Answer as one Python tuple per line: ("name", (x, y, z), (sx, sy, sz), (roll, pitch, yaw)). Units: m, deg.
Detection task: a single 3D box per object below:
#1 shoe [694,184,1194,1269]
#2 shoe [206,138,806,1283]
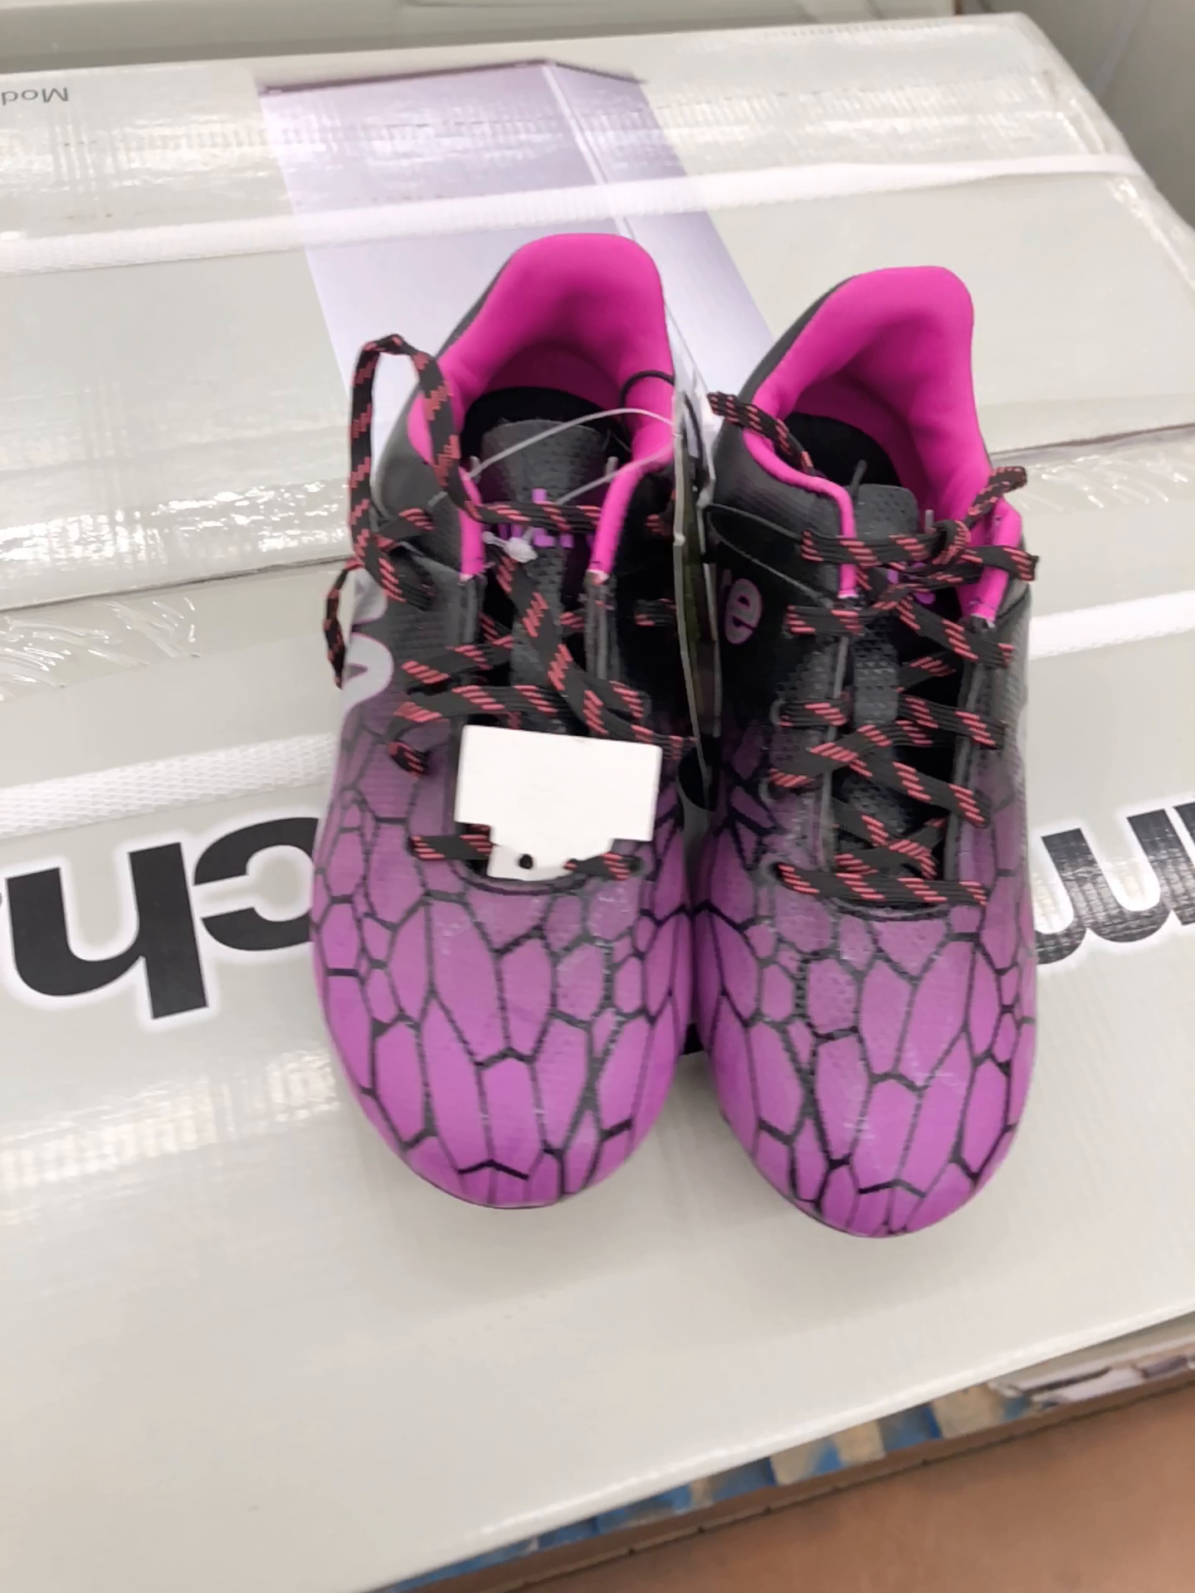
("shoe", (0.070, -0.019, 0.277), (0.080, 0.080, 0.210), (3, 61, -6))
("shoe", (-0.014, -0.022, 0.263), (0.080, 0.080, 0.210), (4, 61, -5))
